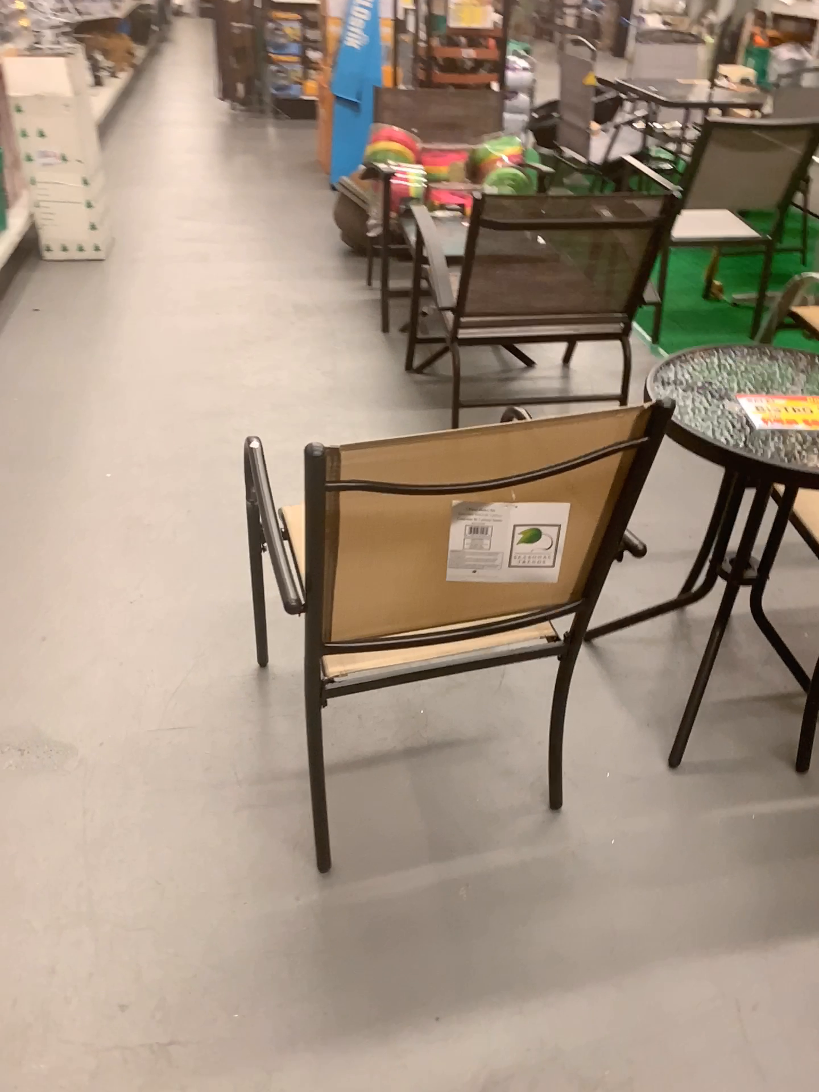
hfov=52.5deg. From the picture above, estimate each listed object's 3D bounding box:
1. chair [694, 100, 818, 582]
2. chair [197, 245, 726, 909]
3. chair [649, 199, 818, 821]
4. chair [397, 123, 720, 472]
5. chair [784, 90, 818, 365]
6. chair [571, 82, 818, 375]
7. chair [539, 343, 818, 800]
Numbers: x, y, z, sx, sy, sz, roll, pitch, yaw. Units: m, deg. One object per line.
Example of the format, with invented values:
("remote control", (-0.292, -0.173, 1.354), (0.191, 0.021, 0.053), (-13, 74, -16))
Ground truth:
("chair", (1.526, -0.633, 2.357), (0.804, 0.981, 1.031), (-4, 36, -9))
("chair", (0.005, 0.027, 1.421), (0.574, 0.862, 0.618), (-8, 37, -15))
("chair", (0.977, -0.091, 1.585), (0.614, 0.922, 0.679), (-5, 36, -10))
("chair", (0.372, -0.828, 2.650), (0.674, 0.802, 0.890), (-4, 36, -9))
("chair", (2.260, -1.370, 3.514), (0.674, 0.872, 0.890), (-4, 36, -9))
("chair", (1.204, -1.335, 3.438), (0.674, 0.922, 0.890), (-4, 36, -9))
("chair", (0.629, 0.025, 1.604), (0.524, 0.633, 0.548), (-5, 36, -11))
